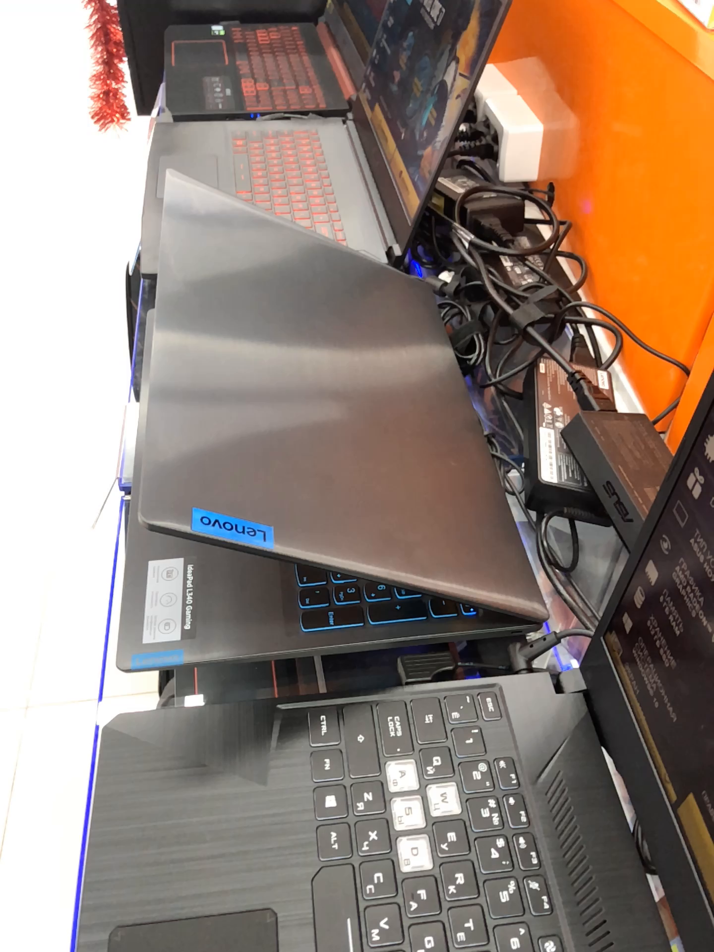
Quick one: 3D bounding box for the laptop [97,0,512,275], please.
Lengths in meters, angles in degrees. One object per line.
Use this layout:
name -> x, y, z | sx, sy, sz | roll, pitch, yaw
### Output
laptop -> -0.059, -0.415, 0.811 | 0.325, 0.228, 0.350 | -5, 45, -7

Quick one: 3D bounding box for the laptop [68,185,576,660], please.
laptop -> -0.032, -0.066, 0.539 | 0.240, 0.118, 0.349 | -4, 43, -5

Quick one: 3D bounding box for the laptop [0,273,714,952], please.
laptop -> 0.023, 0.159, 0.204 | 0.277, 0.251, 0.385 | -3, 44, -4
